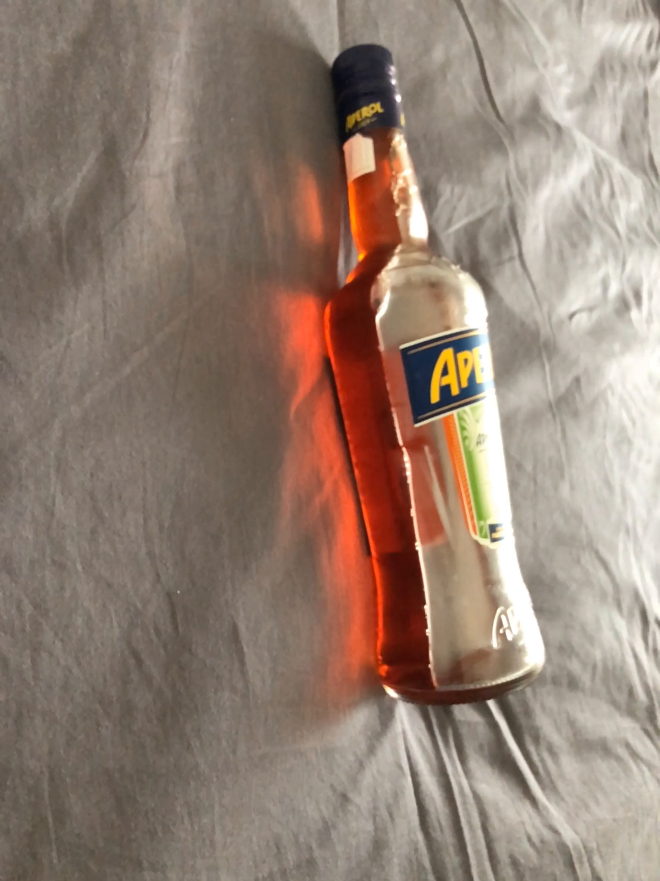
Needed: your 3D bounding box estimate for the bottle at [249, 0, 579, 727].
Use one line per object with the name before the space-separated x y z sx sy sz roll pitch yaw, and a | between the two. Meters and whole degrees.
bottle | 0.042 -0.045 0.355 0.101 0.070 0.320 -4 85 -49
